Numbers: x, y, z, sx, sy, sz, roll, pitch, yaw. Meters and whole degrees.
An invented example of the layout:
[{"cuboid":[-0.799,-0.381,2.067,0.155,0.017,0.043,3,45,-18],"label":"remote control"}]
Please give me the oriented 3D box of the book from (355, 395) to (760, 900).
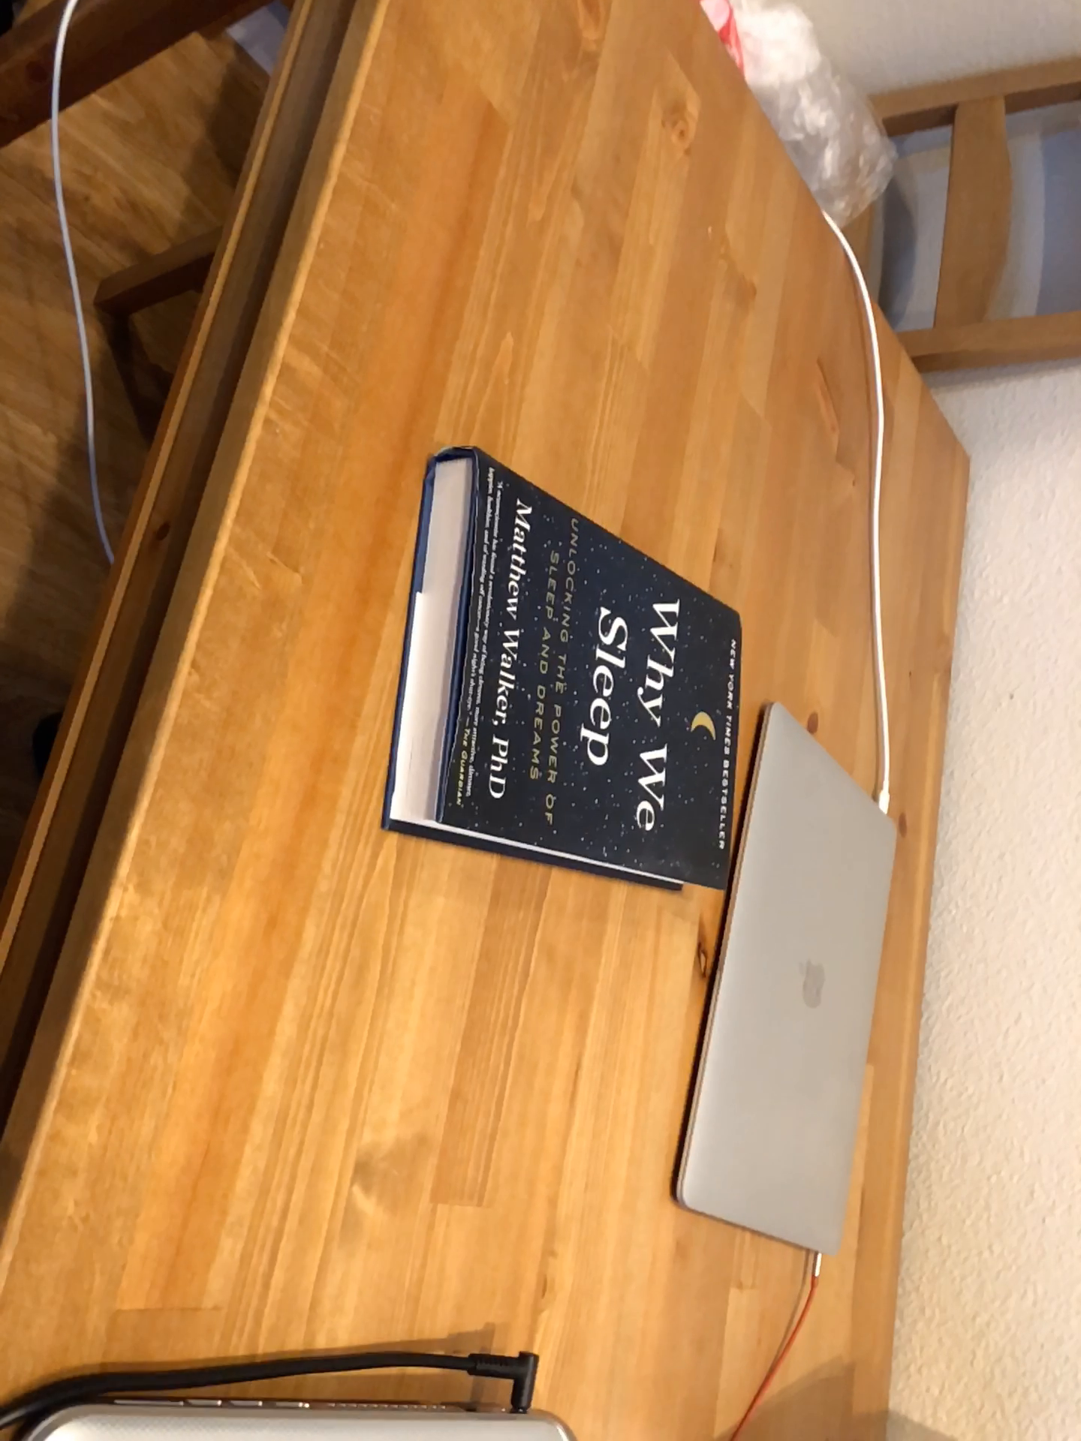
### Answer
[{"cuboid":[0.025,-0.016,0.552,0.242,0.040,0.170,20,71,-51],"label":"book"}]
